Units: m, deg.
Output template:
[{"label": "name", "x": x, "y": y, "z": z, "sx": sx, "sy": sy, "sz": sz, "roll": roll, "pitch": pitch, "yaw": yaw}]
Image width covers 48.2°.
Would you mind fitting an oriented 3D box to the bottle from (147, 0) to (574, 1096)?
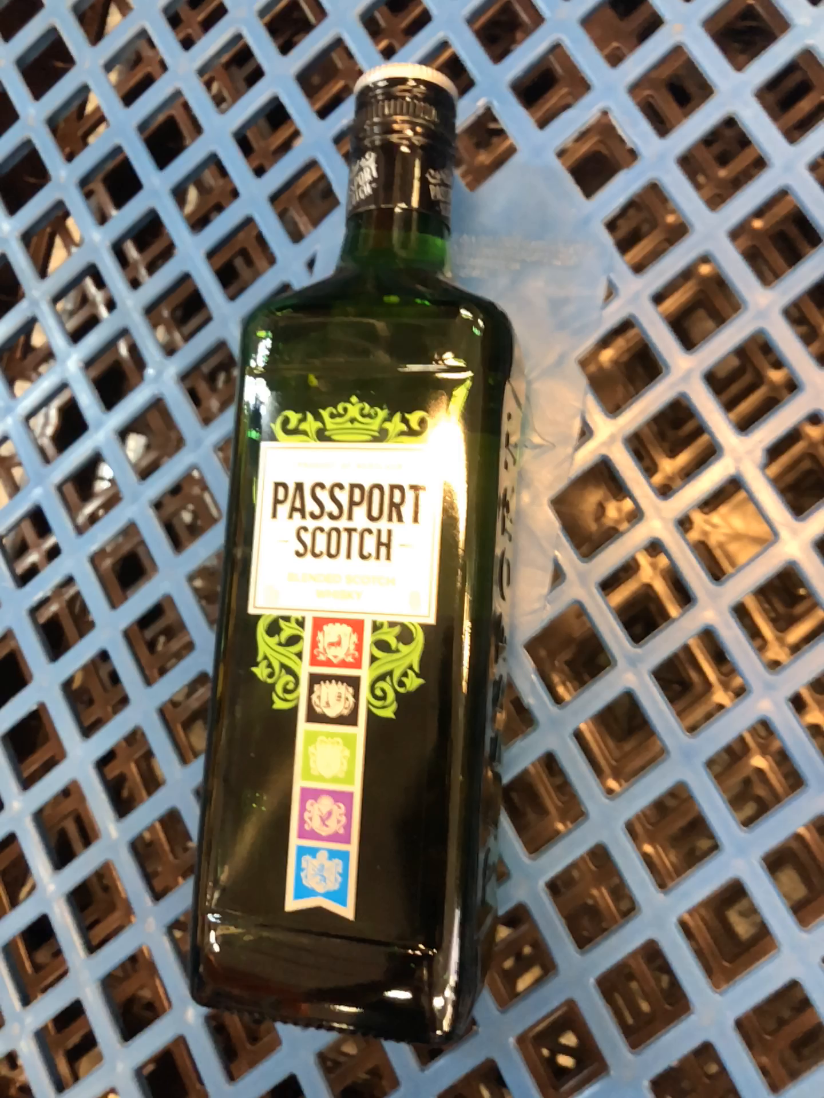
[{"label": "bottle", "x": -0.006, "y": -0.021, "z": 0.252, "sx": 0.080, "sy": 0.070, "sz": 0.280, "roll": 2, "pitch": 84, "yaw": 16}]
